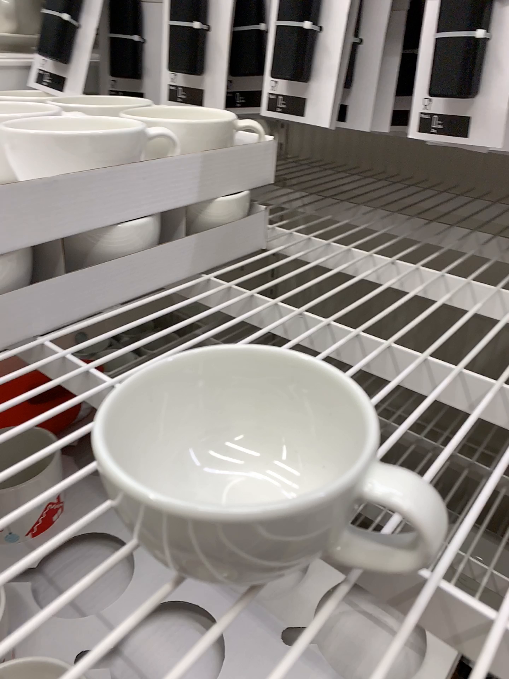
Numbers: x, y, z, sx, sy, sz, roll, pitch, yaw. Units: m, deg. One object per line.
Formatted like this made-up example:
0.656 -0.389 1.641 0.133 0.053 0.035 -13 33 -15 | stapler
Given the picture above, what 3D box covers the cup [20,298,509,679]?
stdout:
0.008 0.035 0.166 0.116 0.036 0.097 20 33 27 | cup
